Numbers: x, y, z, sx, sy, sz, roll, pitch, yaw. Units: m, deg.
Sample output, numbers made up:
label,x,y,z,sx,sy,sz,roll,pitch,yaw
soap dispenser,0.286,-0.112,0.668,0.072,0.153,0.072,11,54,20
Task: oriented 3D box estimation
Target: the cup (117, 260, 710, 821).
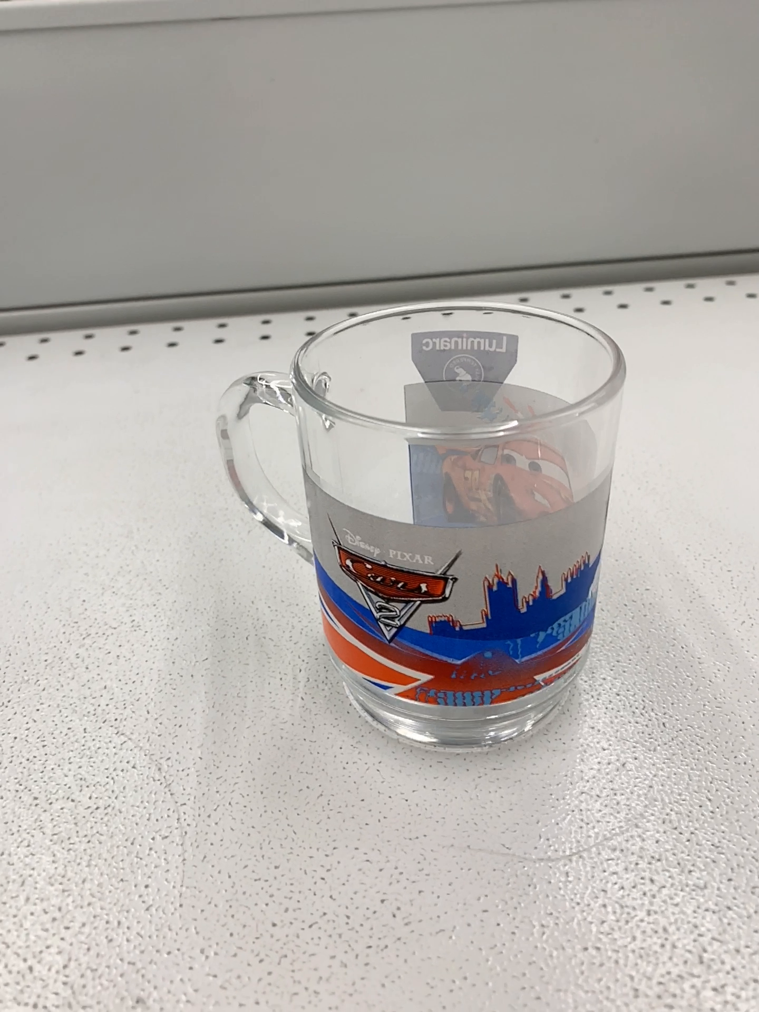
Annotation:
label,x,y,z,sx,sy,sz,roll,pitch,yaw
cup,0.008,-0.002,0.188,0.101,0.081,0.072,19,39,31
